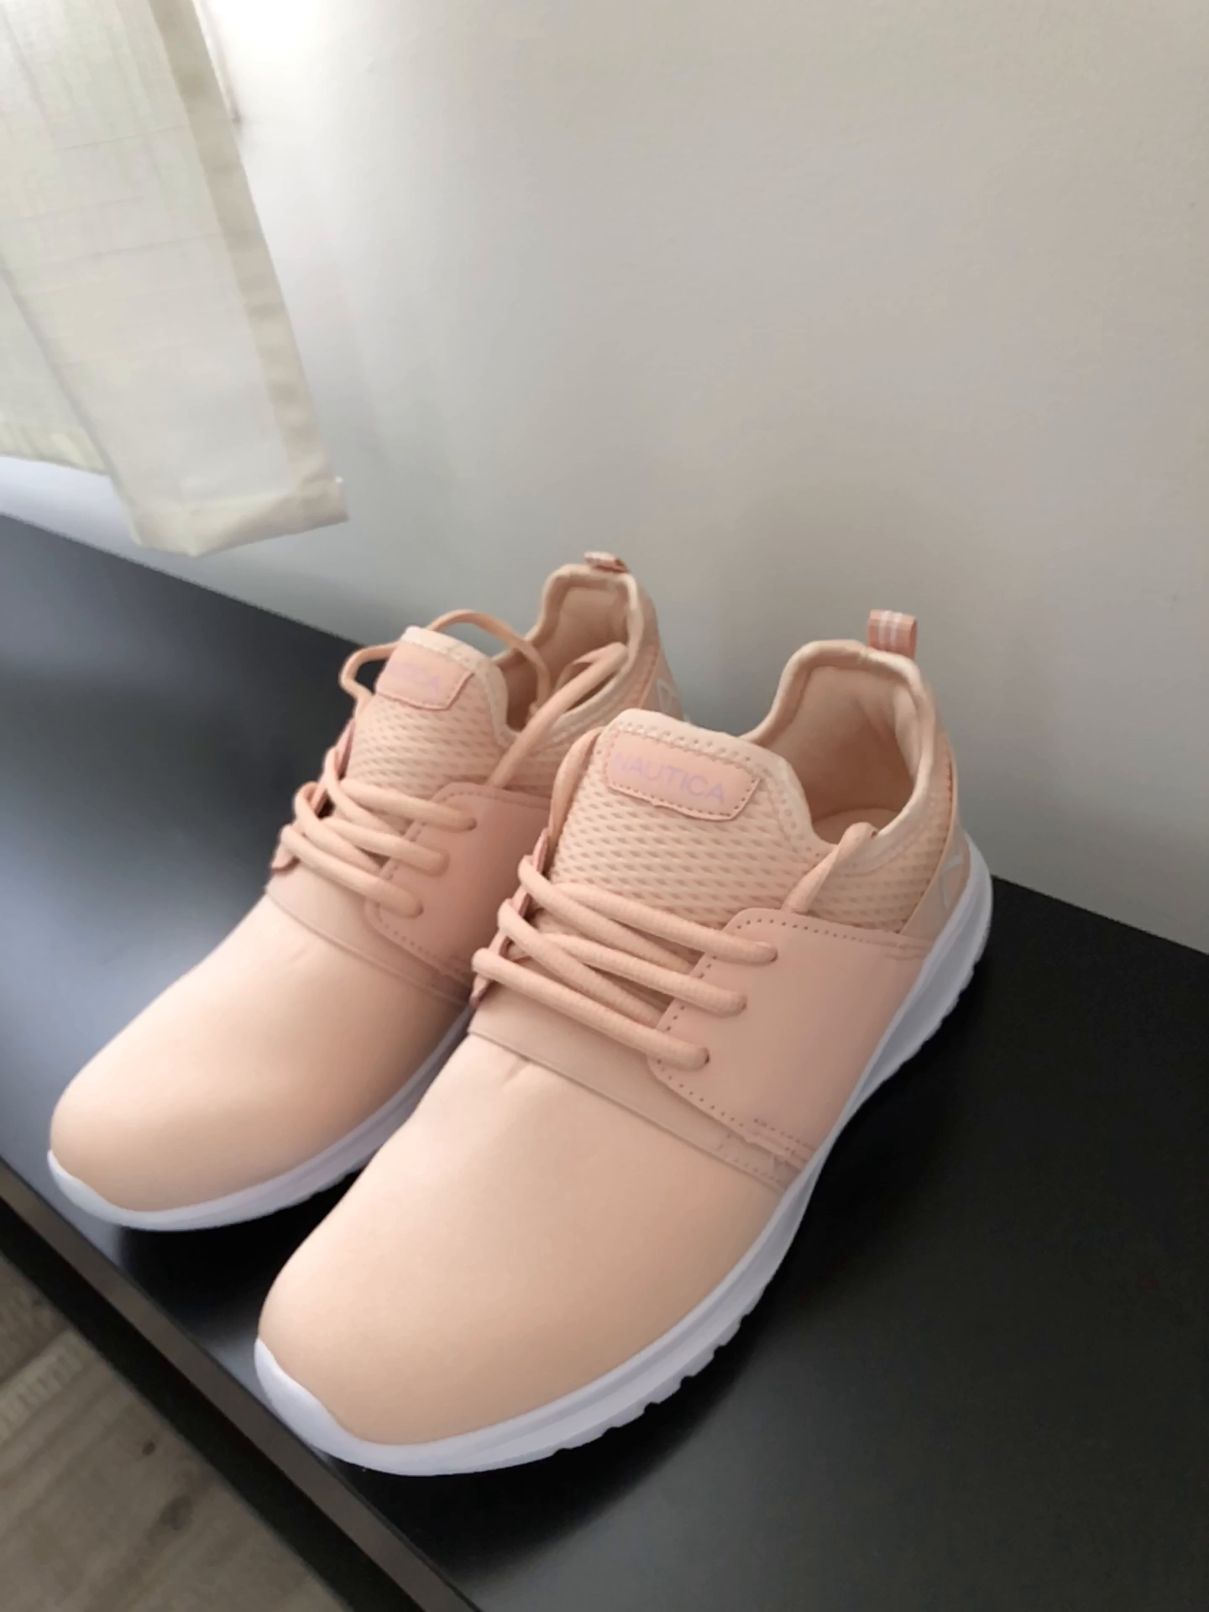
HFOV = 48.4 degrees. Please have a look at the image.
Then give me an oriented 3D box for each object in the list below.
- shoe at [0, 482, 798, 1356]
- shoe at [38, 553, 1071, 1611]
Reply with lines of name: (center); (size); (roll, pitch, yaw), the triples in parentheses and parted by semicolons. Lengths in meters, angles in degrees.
shoe: (-0.057, 0.013, 0.404); (0.100, 0.110, 0.250); (22, 47, 36)
shoe: (0.011, 0.048, 0.335); (0.100, 0.110, 0.240); (22, 47, 36)
